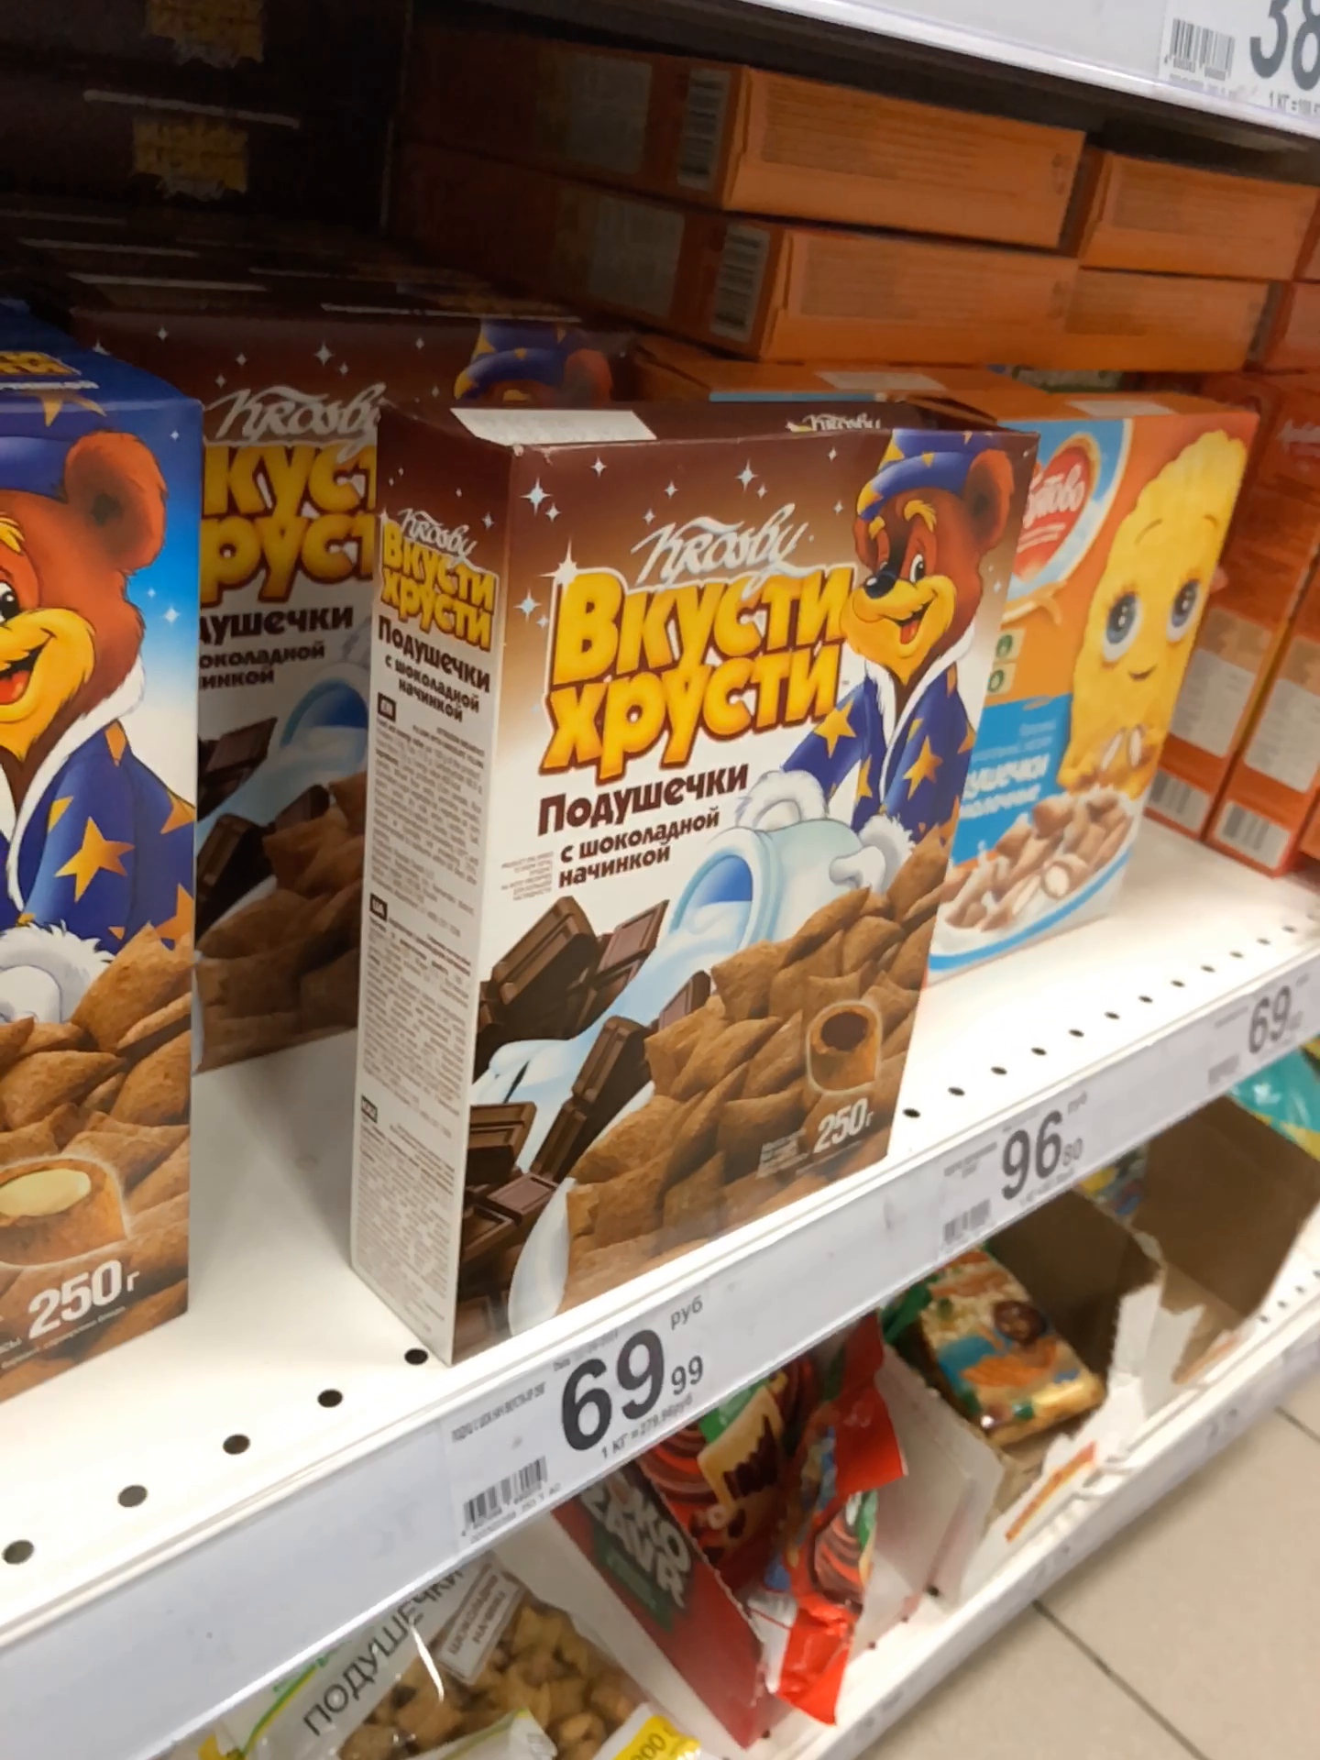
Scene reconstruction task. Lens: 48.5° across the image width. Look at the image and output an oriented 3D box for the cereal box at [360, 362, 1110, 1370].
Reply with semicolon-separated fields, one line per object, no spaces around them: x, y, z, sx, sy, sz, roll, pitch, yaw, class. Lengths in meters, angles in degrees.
0.018;-0.010;0.385;0.180;0.229;0.050;-14;33;-39;cereal box
